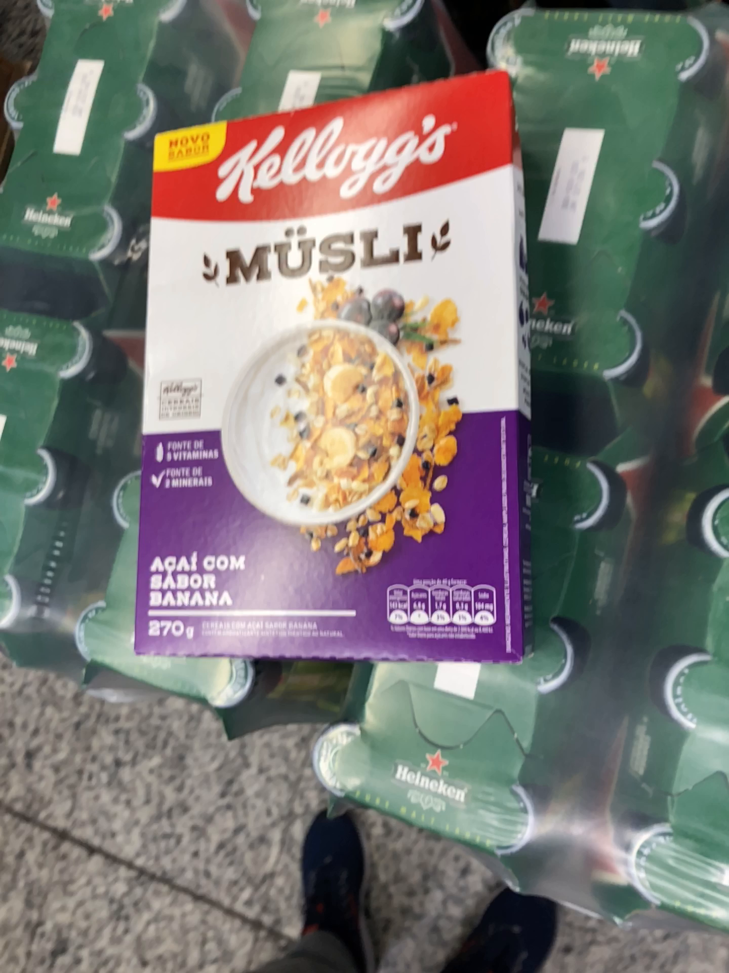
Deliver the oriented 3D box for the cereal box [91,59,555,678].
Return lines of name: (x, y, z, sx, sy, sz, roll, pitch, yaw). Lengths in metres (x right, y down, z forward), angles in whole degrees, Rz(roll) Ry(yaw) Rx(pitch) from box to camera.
cereal box: (-0.015, -0.035, 0.284, 0.150, 0.040, 0.190, -2, 82, 17)
